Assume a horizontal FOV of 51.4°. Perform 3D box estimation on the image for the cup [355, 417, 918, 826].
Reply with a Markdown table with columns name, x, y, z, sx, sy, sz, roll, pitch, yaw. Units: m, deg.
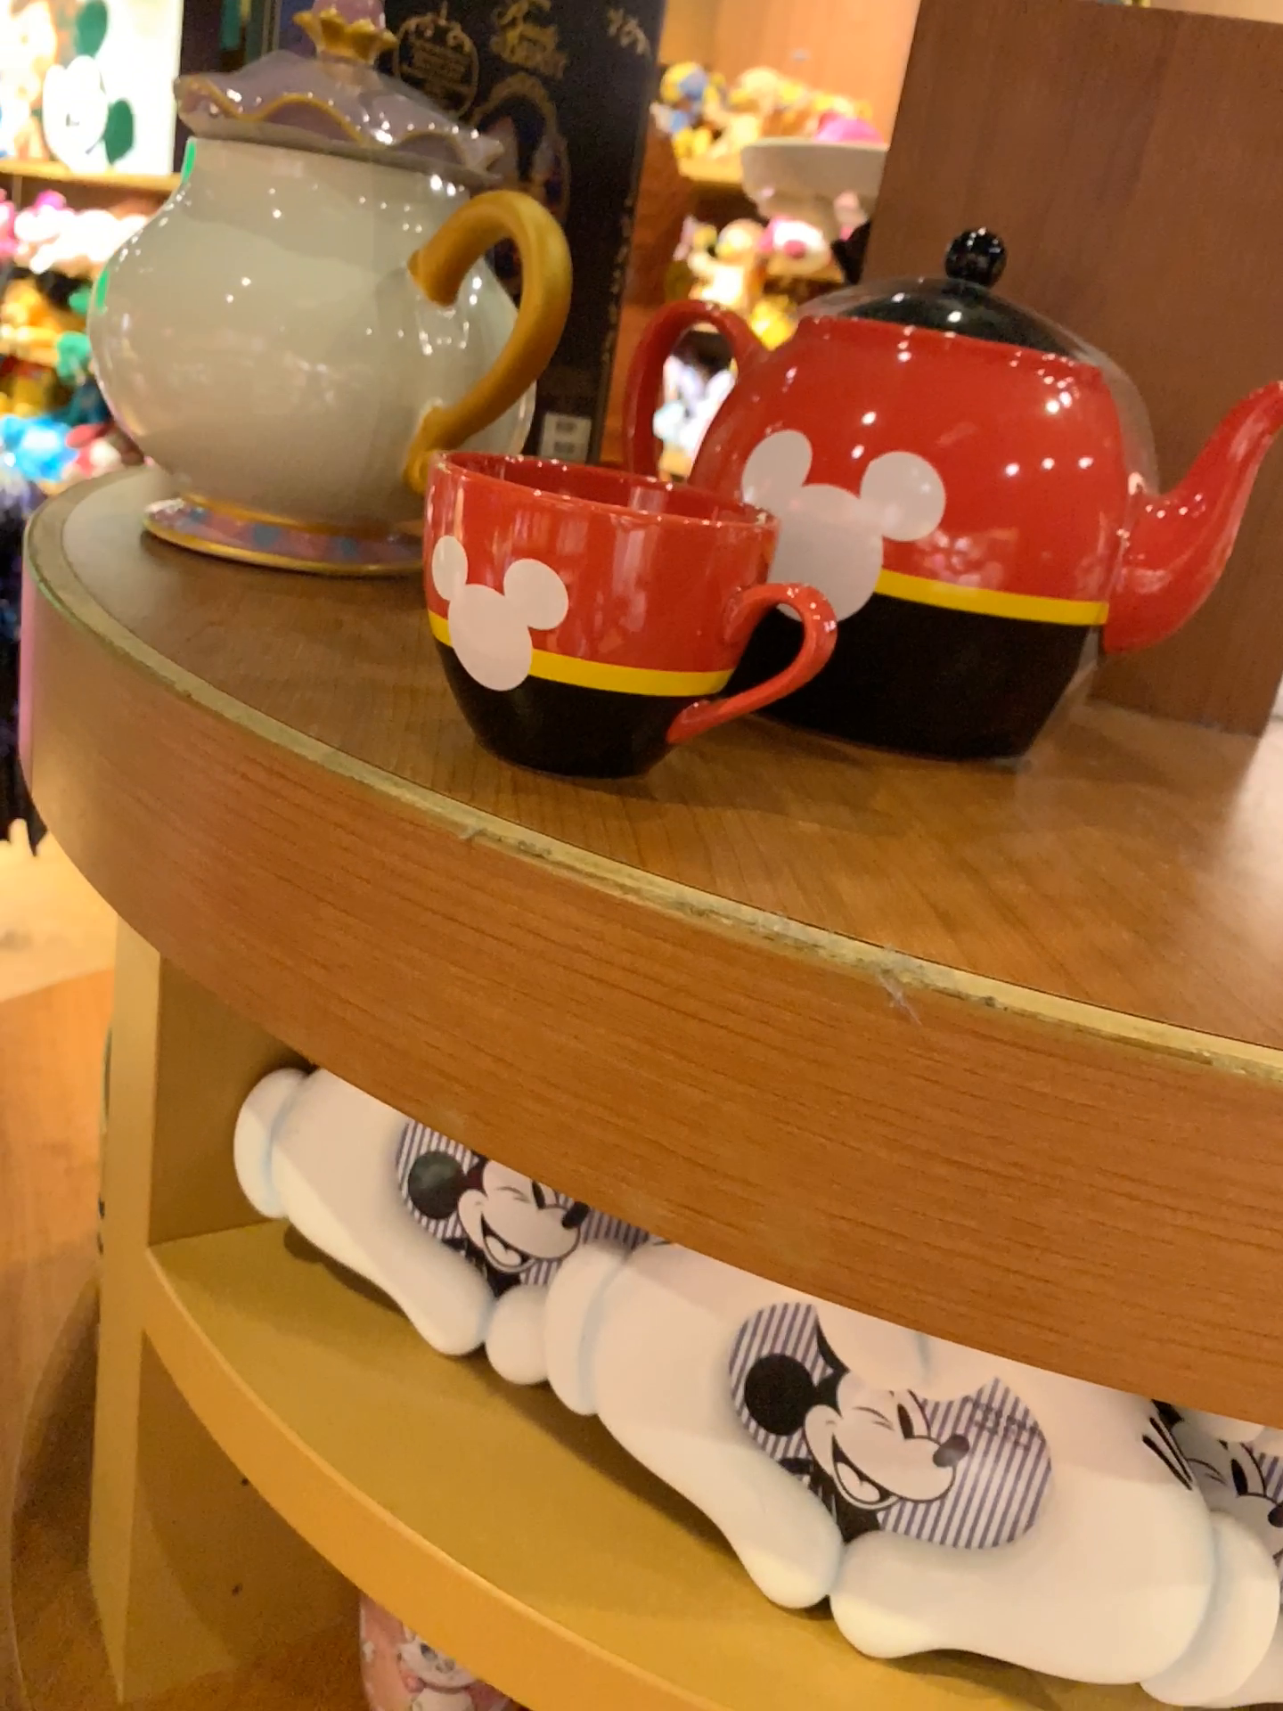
| name | x | y | z | sx | sy | sz | roll | pitch | yaw |
| --- | --- | --- | --- | --- | --- | --- | --- | --- | --- |
| cup | -0.003 | -0.061 | 0.320 | 0.100 | 0.065 | 0.077 | 24 | 24 | 33 |
